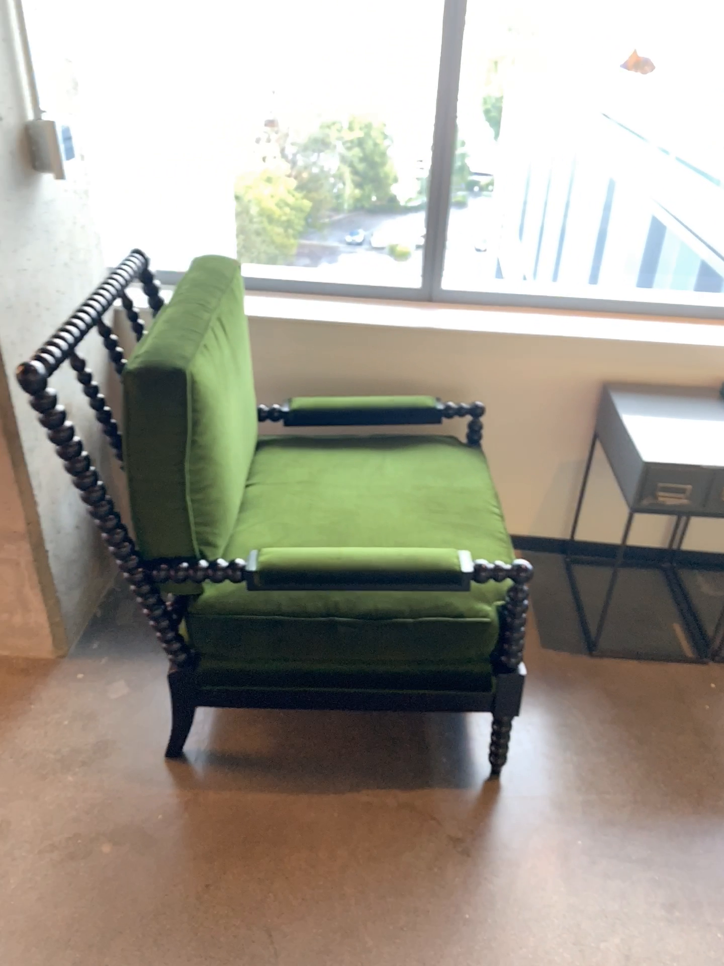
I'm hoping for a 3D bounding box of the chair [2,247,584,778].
[{"bbox_3d":[-0.124,0.053,1.749,0.920,0.974,0.735,1,32,-1],"label":"chair"}]
